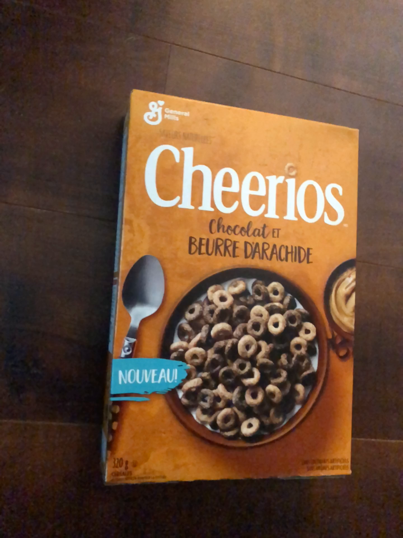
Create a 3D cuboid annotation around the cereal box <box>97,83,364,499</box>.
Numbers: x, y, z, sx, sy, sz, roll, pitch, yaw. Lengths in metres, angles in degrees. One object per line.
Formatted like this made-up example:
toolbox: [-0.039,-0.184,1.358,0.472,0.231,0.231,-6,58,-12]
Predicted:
cereal box: [0.026,0.020,0.374,0.200,0.060,0.300,4,86,-14]
